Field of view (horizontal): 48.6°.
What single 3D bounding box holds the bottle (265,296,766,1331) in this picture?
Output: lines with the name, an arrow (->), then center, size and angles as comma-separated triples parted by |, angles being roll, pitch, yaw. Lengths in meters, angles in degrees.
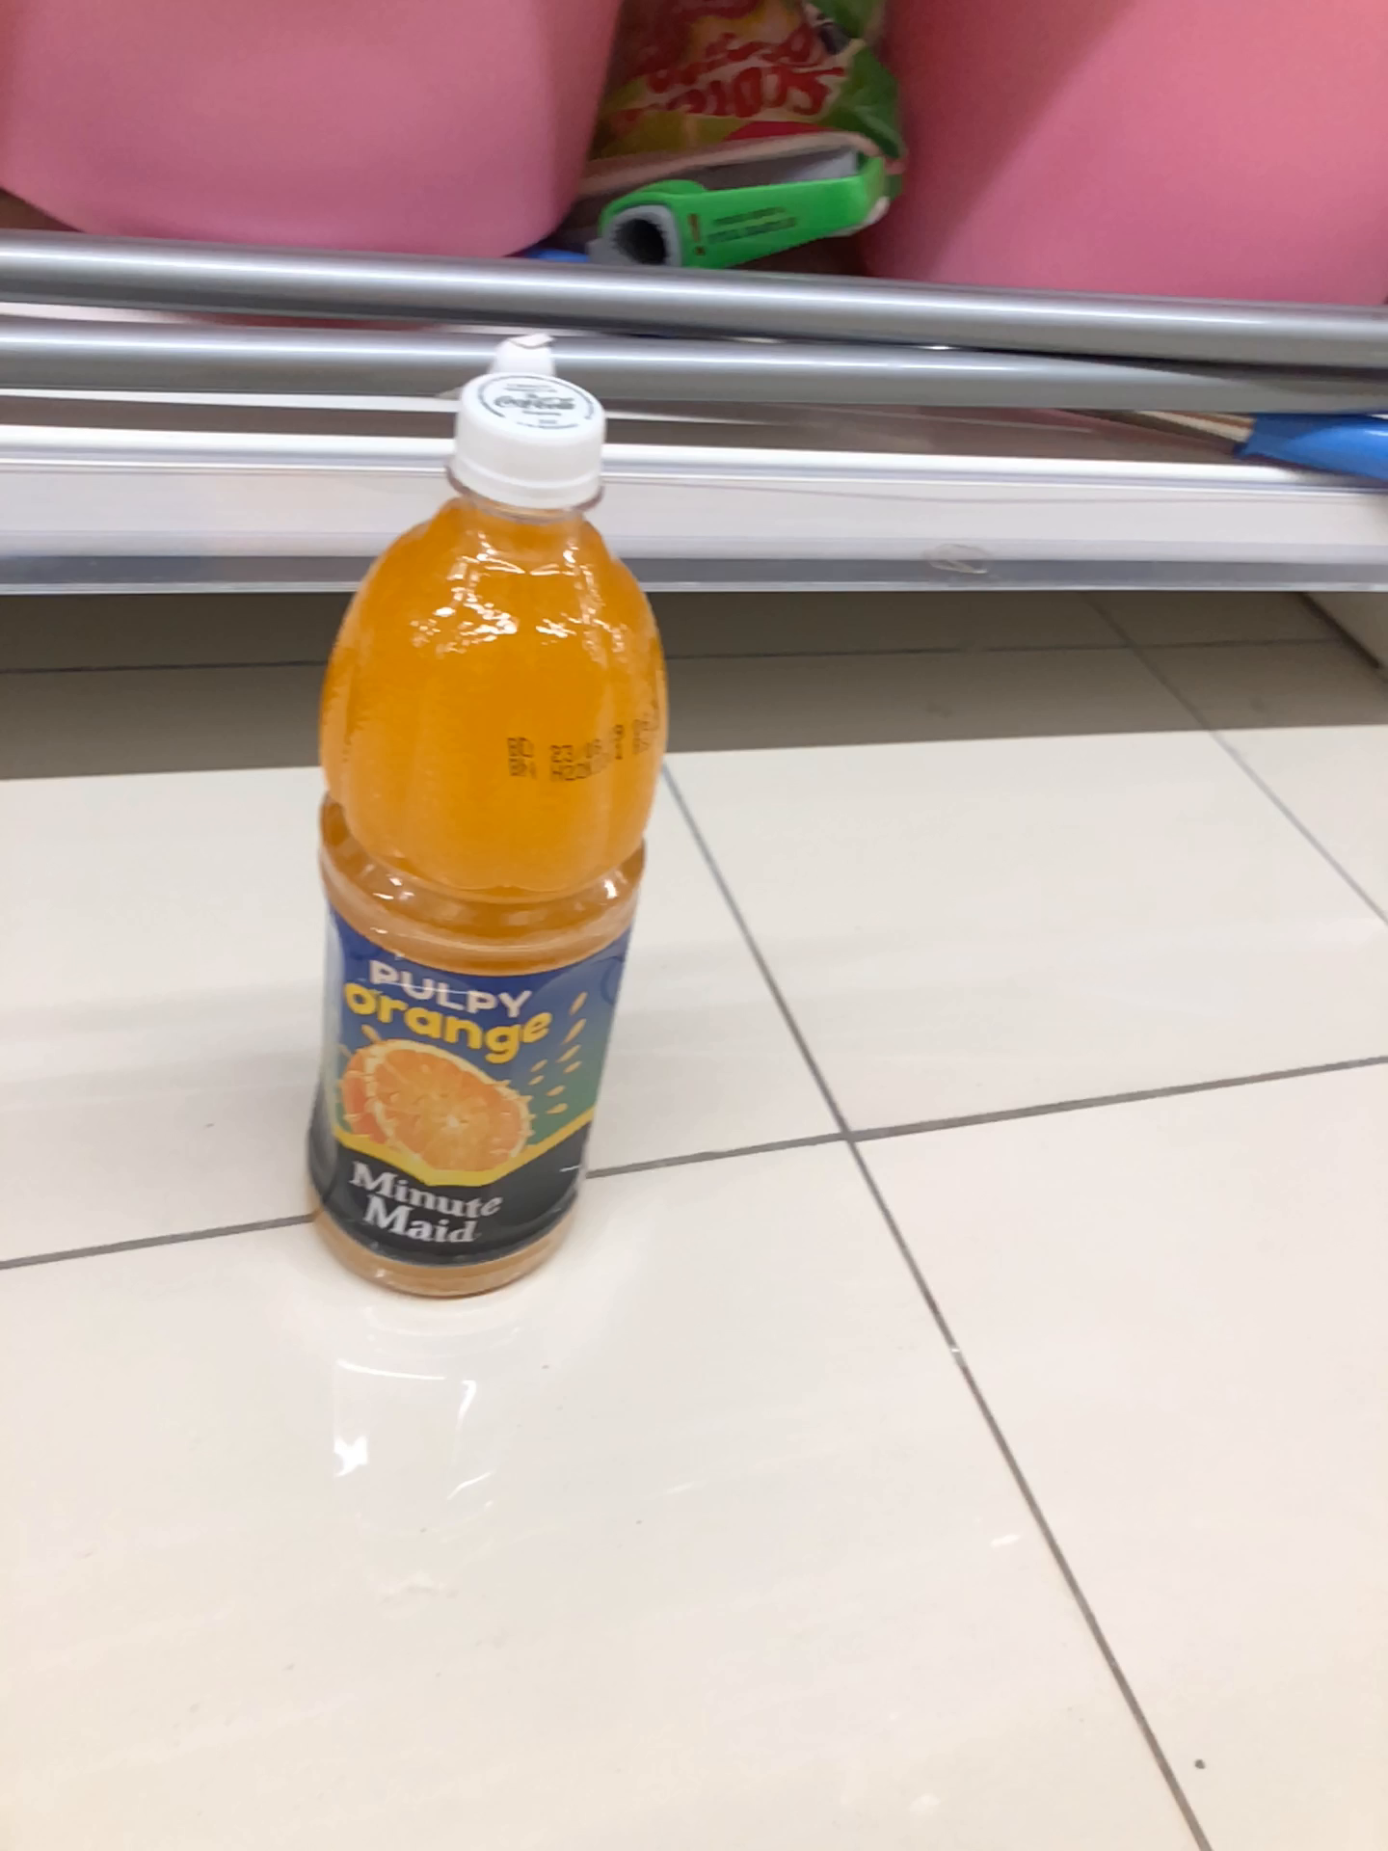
bottle -> -0.053, -0.012, 0.390 | 0.090, 0.245, 0.091 | 8, 40, -7
